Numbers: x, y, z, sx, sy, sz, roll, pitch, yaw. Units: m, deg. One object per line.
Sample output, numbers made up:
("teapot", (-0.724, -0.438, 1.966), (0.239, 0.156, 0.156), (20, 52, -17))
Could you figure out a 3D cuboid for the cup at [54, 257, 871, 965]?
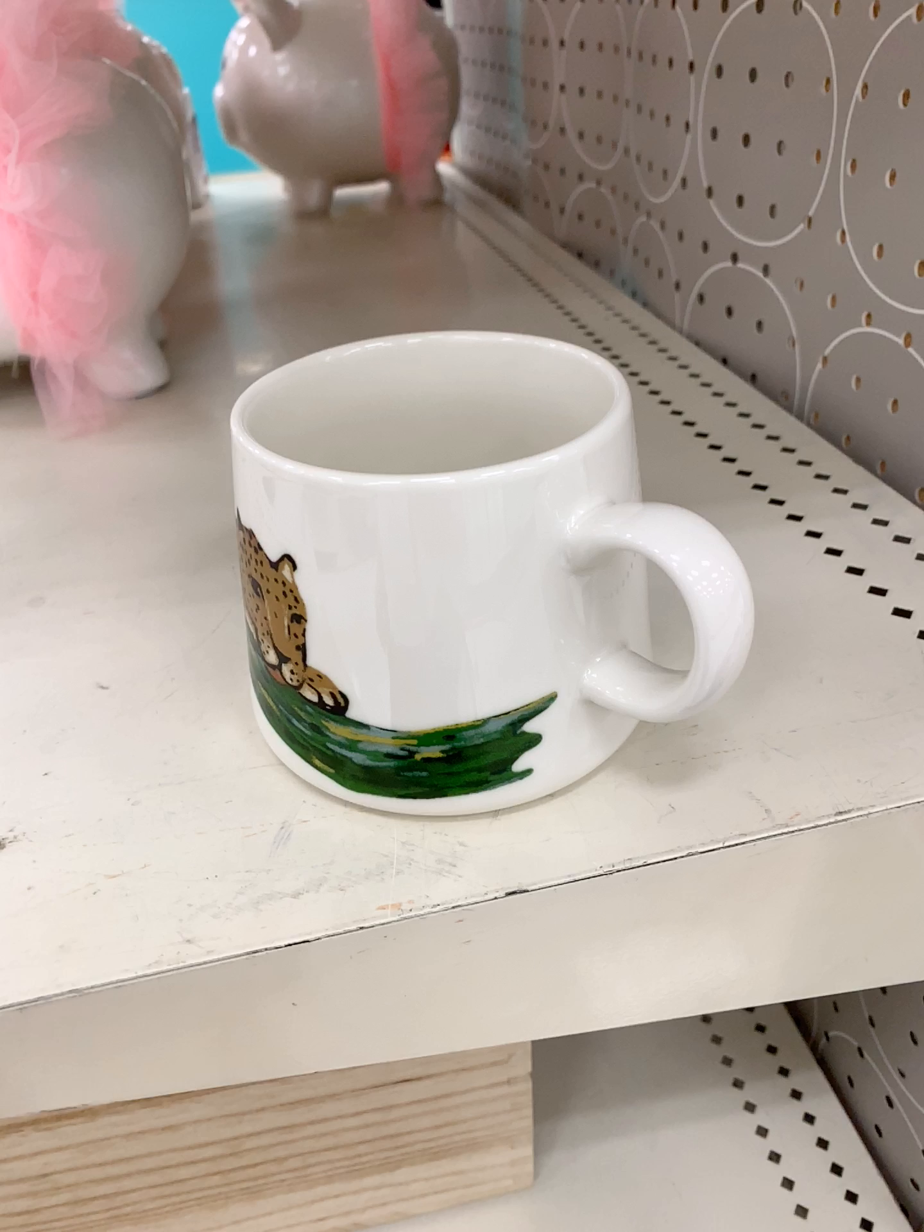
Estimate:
("cup", (-0.001, -0.019, 0.233), (0.140, 0.090, 0.110), (26, 44, 37))
